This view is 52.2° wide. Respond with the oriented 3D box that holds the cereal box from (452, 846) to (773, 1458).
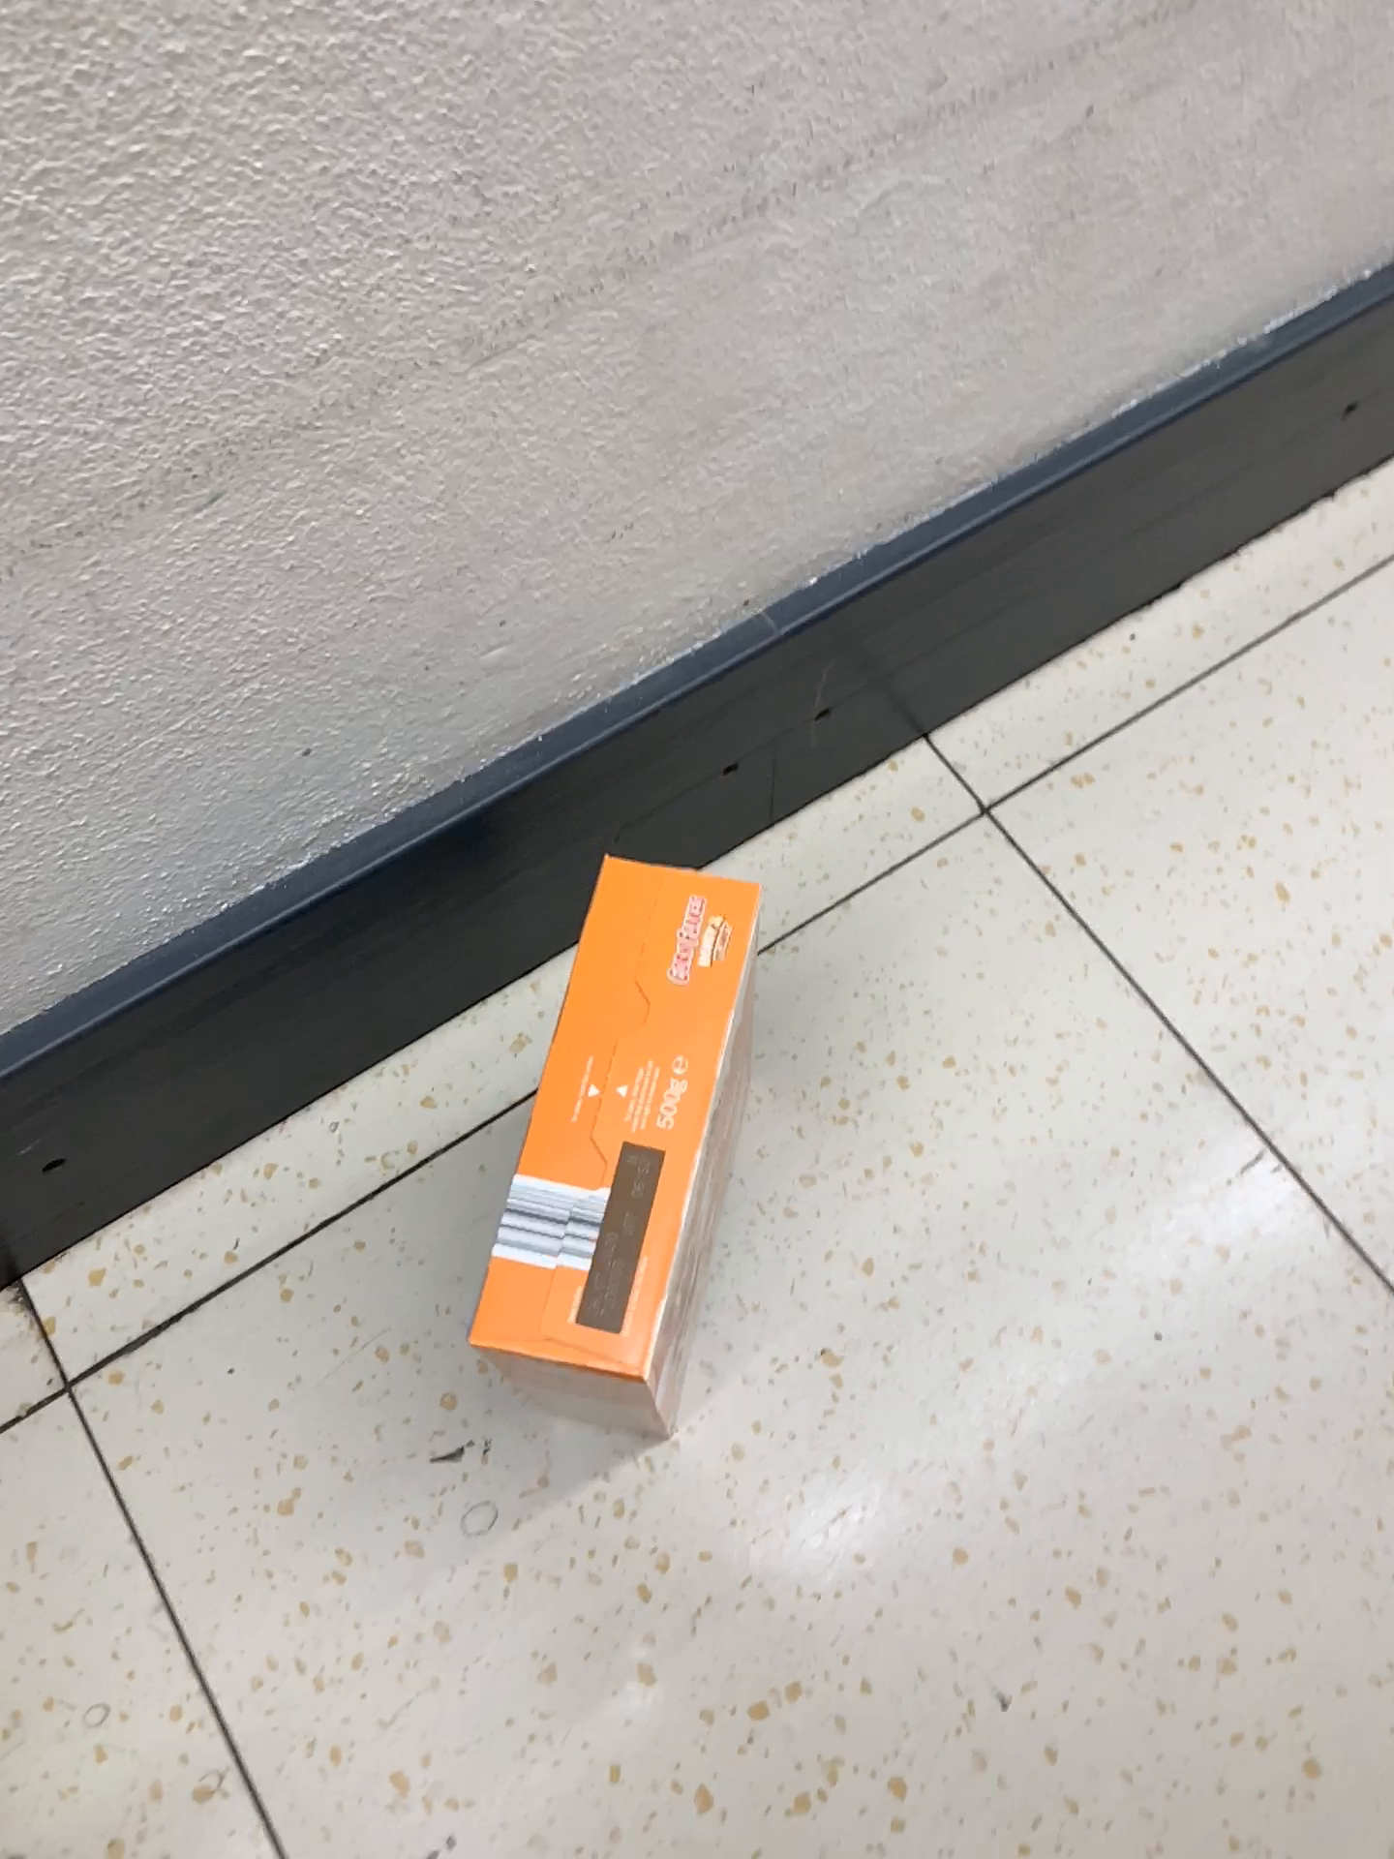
[{"bbox_3d":[-0.024,0.118,0.643,0.070,0.269,0.201,11,67,6],"label":"cereal box"}]
